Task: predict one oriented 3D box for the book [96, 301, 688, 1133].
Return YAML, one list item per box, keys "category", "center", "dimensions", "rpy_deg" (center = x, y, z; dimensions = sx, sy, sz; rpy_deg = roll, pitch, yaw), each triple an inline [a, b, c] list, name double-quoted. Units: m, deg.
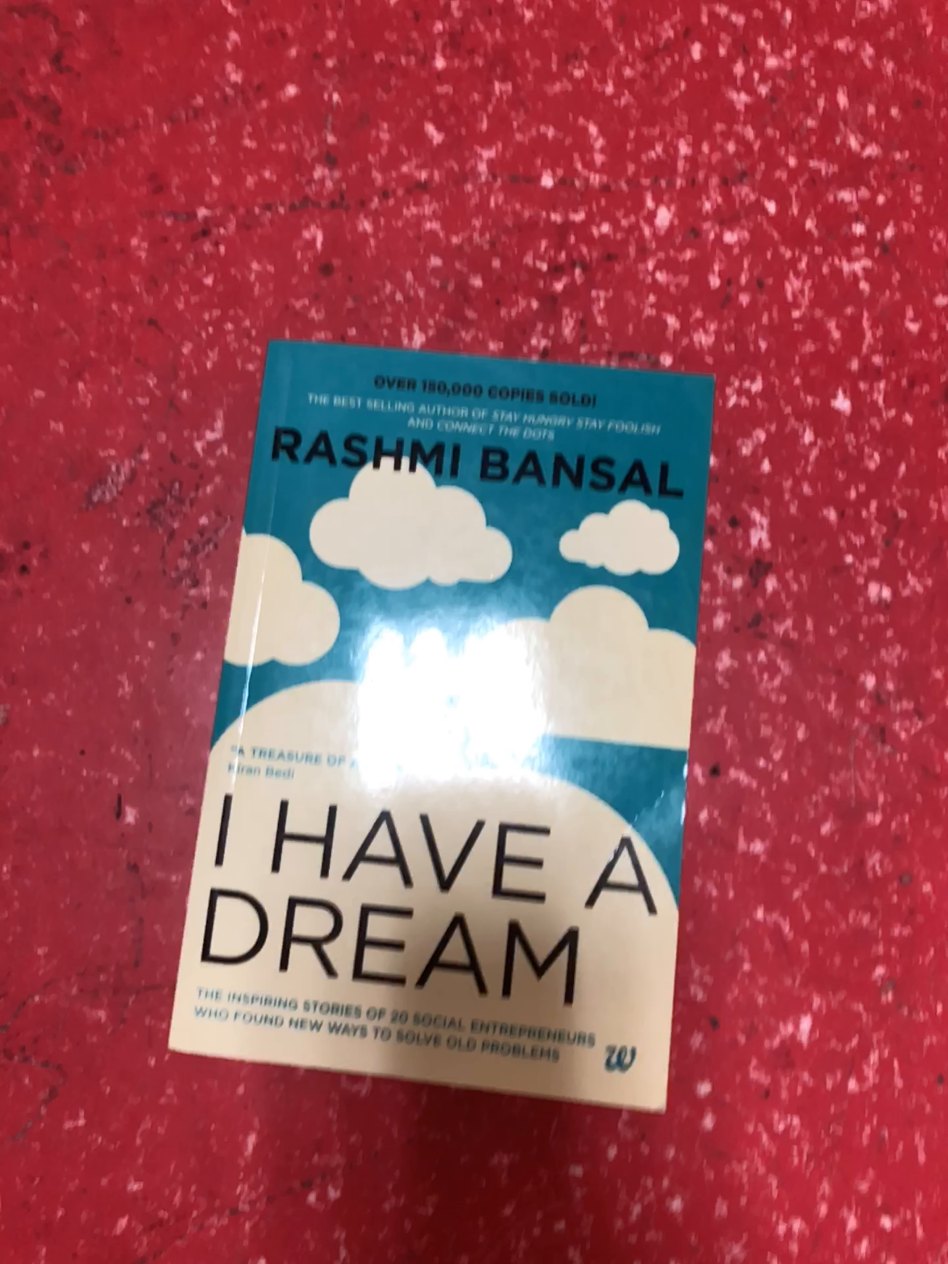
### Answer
- category: "book"
  center: [-0.017, 0.017, 0.284]
  dimensions: [0.130, 0.030, 0.200]
  rpy_deg: [5, 81, 2]
